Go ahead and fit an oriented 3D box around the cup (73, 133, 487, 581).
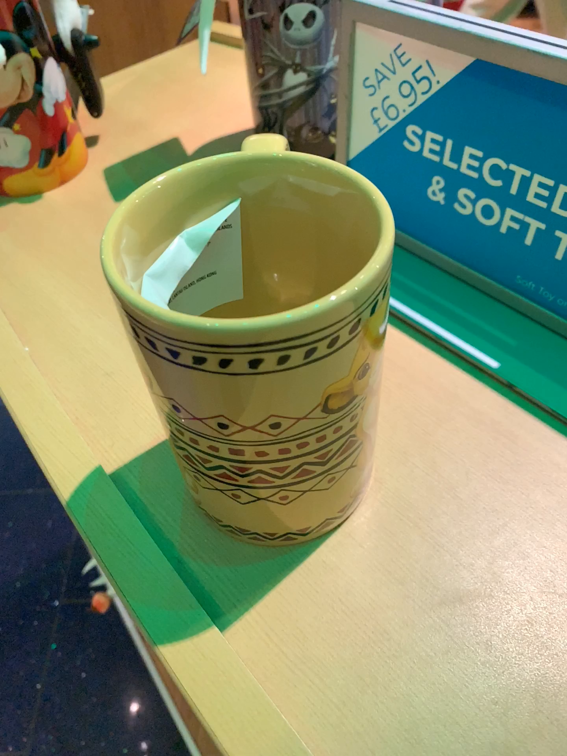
[{"bbox_3d":[-0.002,-0.006,0.227,0.100,0.121,0.120,-1,49,-1],"label":"cup"}]
